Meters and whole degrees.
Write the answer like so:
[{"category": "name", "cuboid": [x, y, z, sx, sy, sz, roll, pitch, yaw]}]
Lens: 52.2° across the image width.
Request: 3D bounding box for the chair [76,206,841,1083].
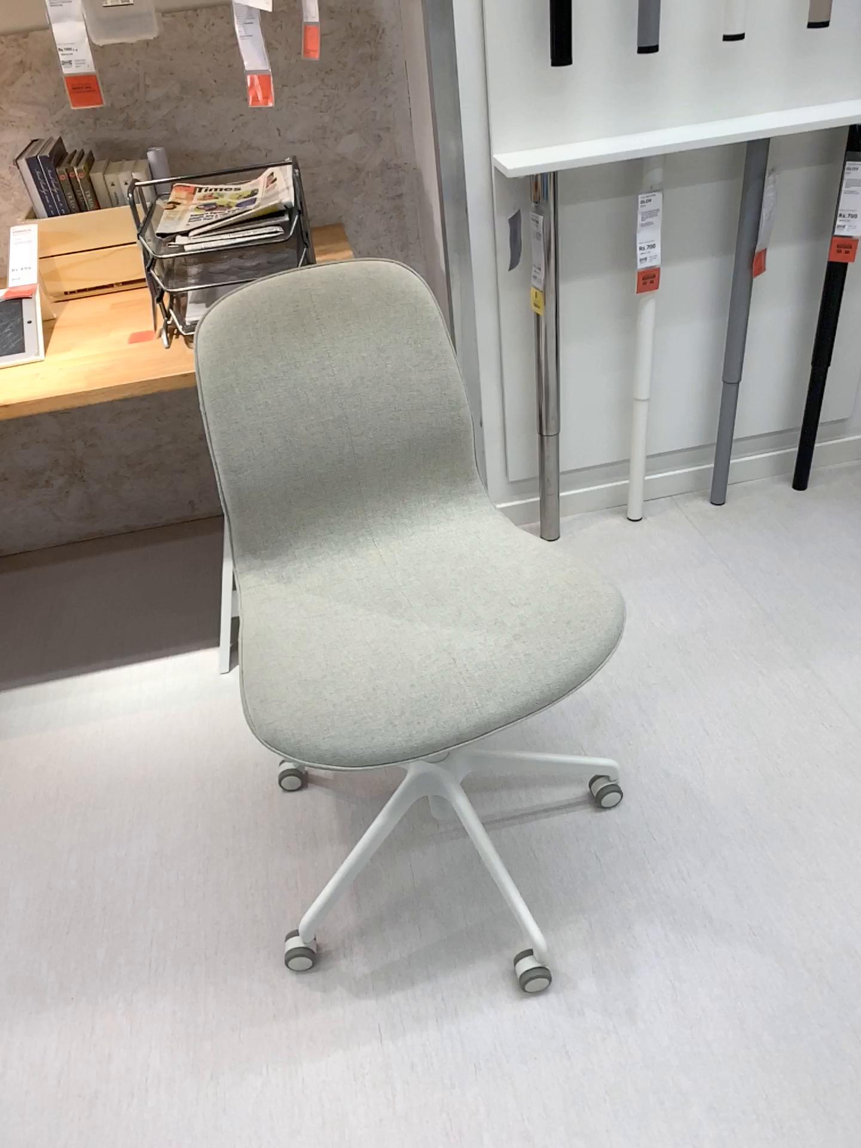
[{"category": "chair", "cuboid": [-0.003, 0.068, 1.233, 0.660, 0.866, 0.663, -15, 37, -10]}]
